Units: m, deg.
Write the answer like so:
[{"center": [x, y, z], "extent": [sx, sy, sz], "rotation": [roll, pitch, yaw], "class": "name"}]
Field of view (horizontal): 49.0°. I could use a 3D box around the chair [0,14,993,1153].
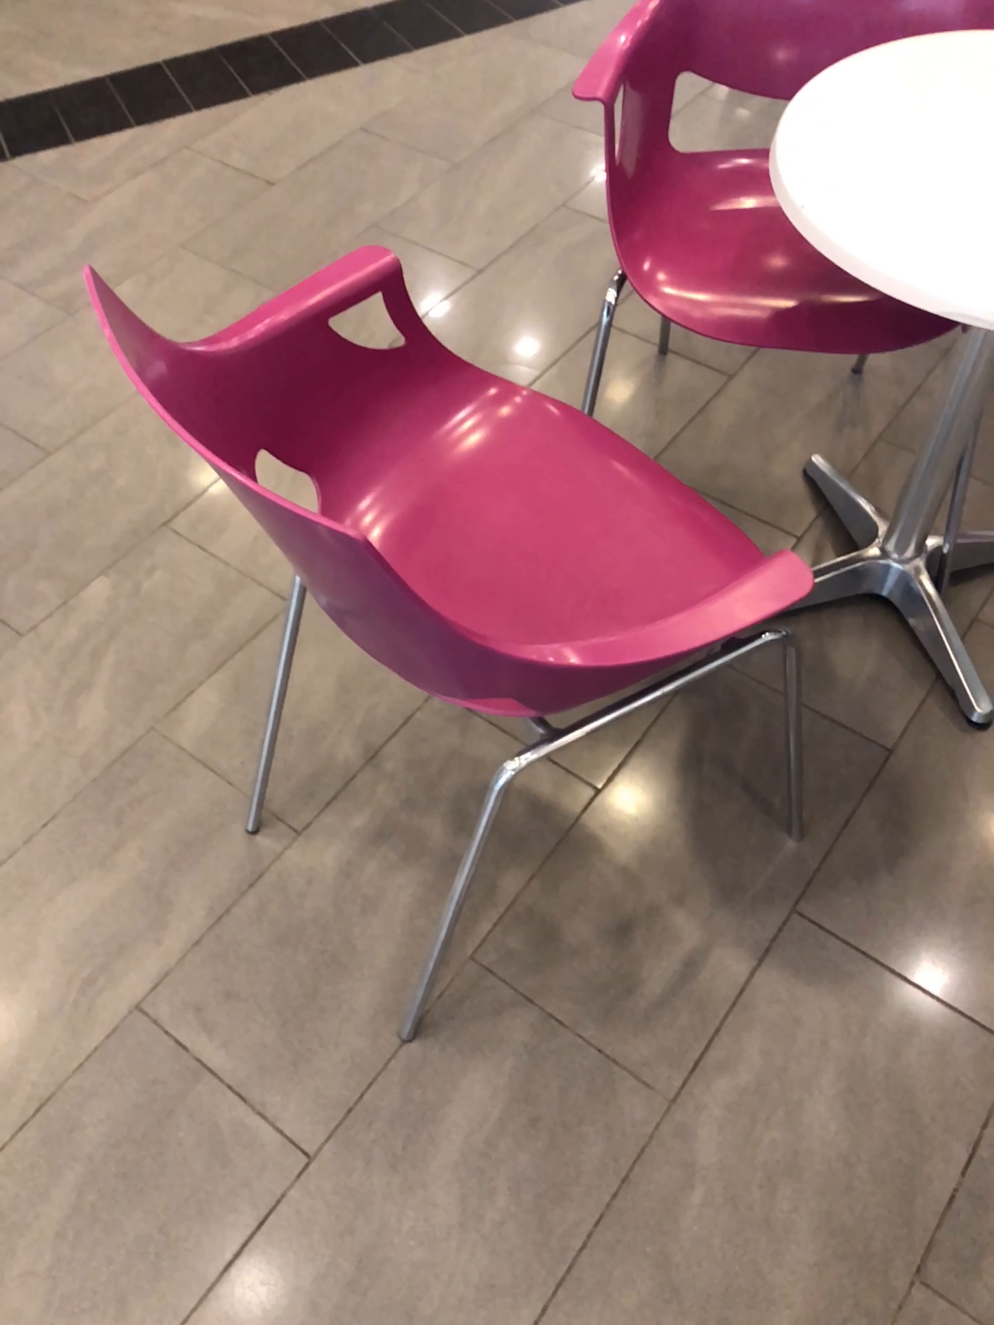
[{"center": [0.015, -0.060, 1.185], "extent": [0.671, 0.837, 0.621], "rotation": [-32, 56, -20], "class": "chair"}]
